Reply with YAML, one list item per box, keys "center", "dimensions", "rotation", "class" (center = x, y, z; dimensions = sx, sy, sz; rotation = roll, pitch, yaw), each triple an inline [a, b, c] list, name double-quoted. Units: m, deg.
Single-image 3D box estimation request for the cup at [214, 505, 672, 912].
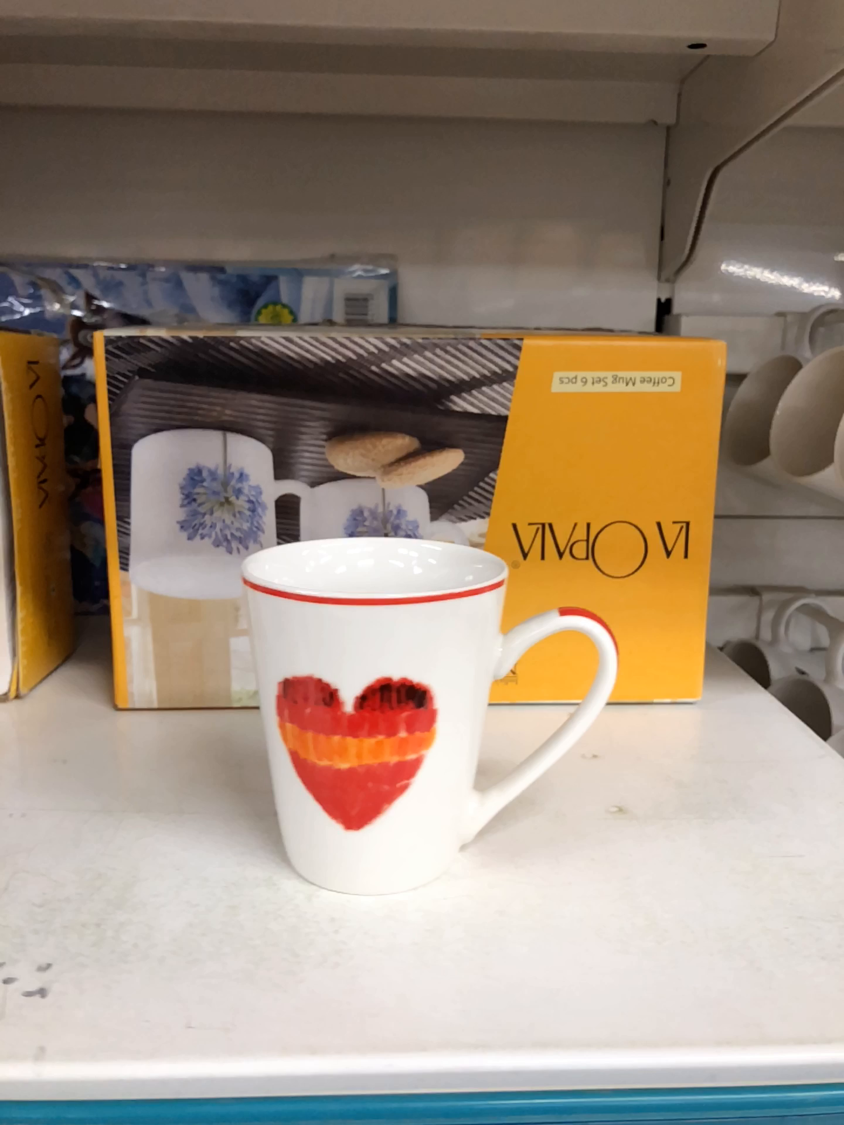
- center: [0.006, 0.039, 0.295]
  dimensions: [0.120, 0.100, 0.080]
  rotation: [2, 12, 2]
  class: "cup"
